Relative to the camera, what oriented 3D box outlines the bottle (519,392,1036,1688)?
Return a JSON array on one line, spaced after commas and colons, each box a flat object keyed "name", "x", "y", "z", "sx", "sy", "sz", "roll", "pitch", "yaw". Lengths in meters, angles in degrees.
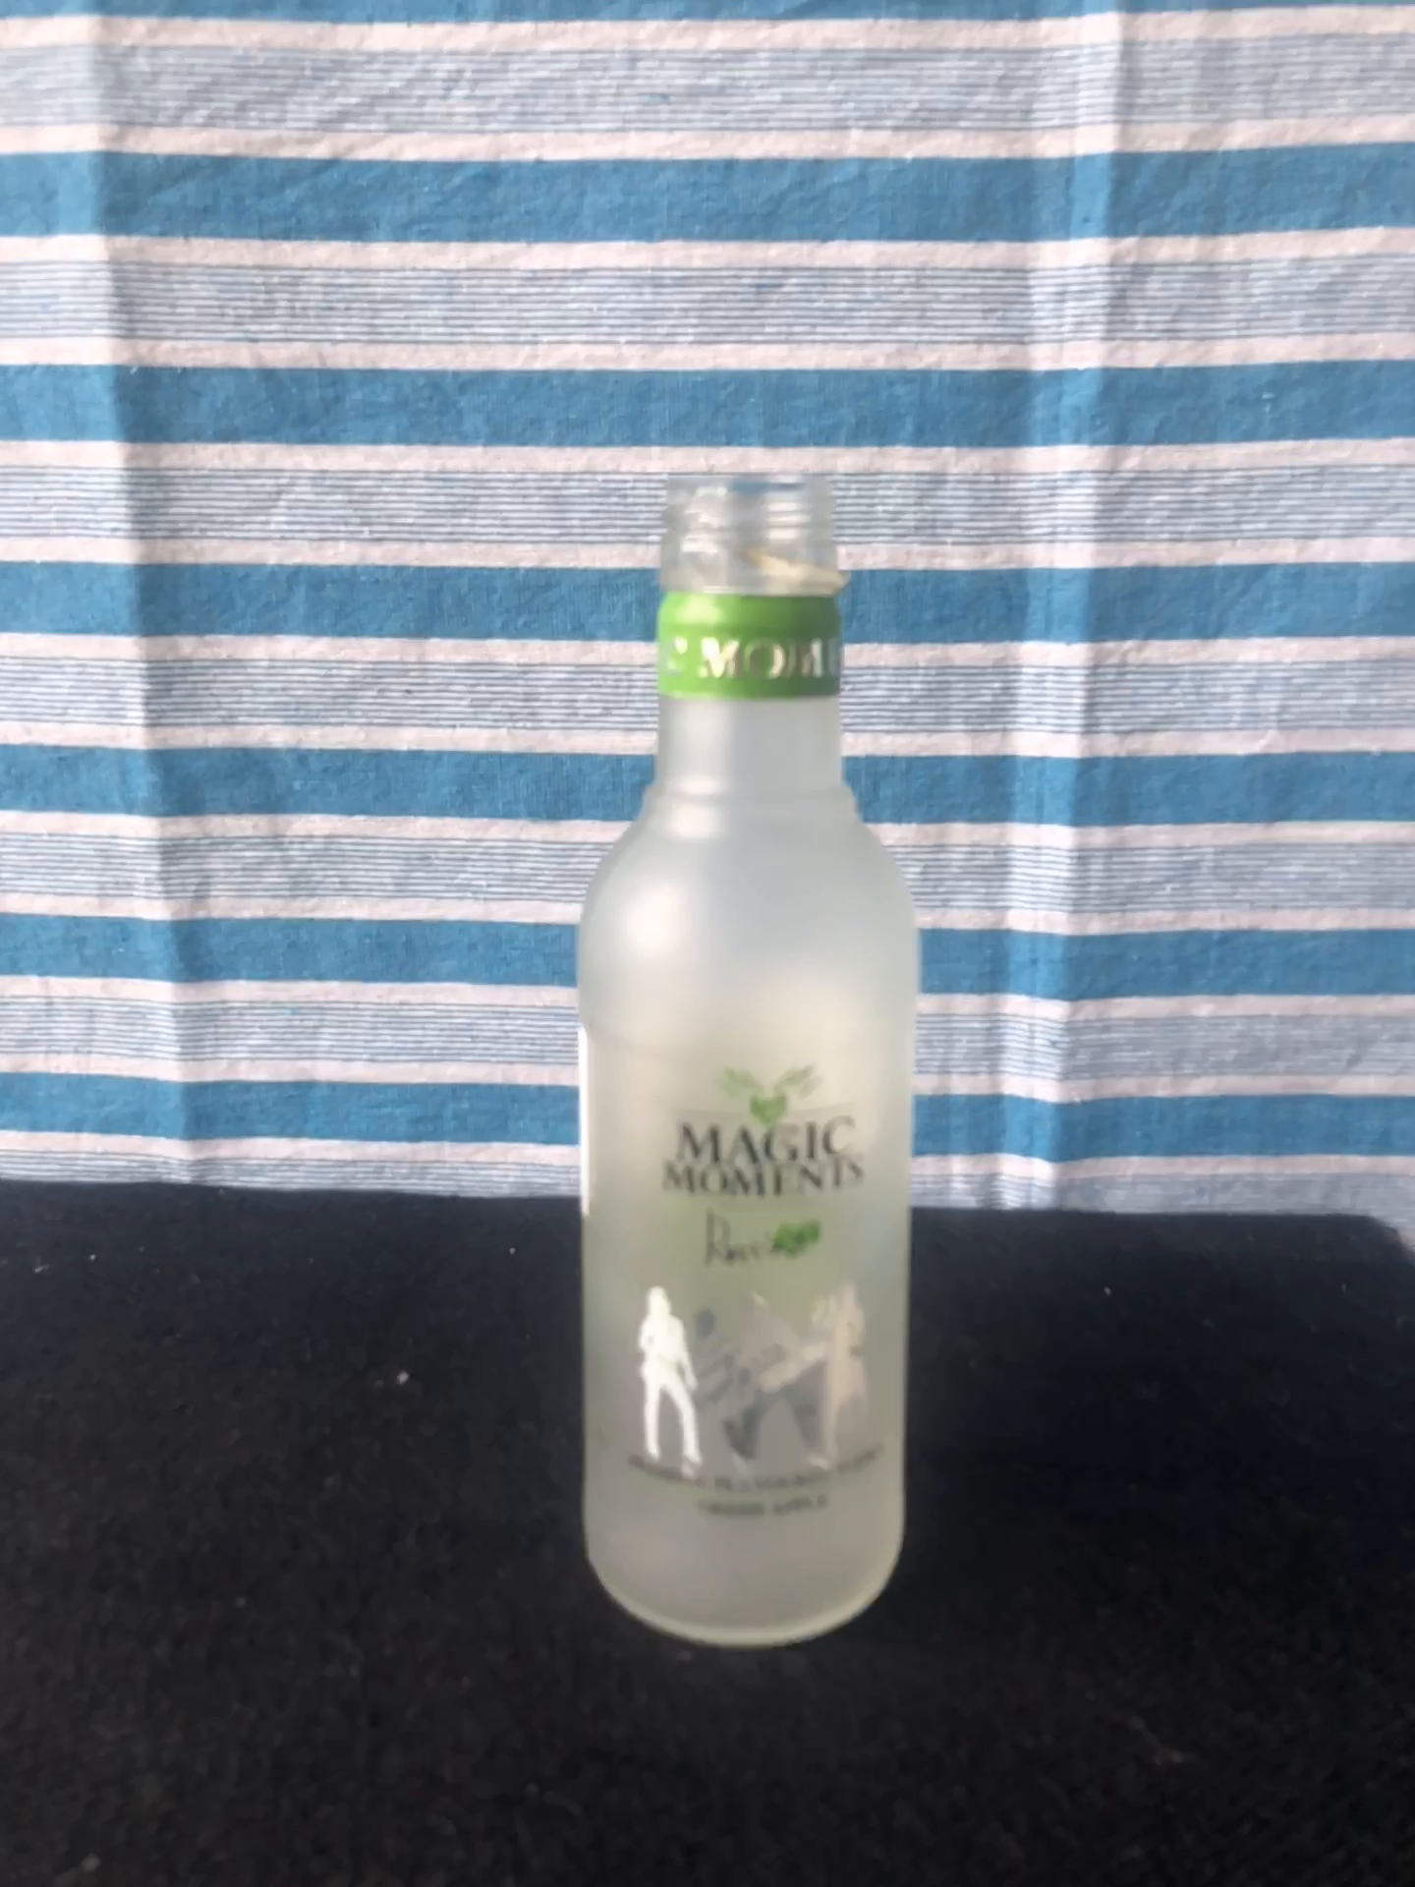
[{"name": "bottle", "x": 0.005, "y": 0.012, "z": 0.195, "sx": 0.050, "sy": 0.149, "sz": 0.050, "roll": 2, "pitch": 16, "yaw": 0}]
